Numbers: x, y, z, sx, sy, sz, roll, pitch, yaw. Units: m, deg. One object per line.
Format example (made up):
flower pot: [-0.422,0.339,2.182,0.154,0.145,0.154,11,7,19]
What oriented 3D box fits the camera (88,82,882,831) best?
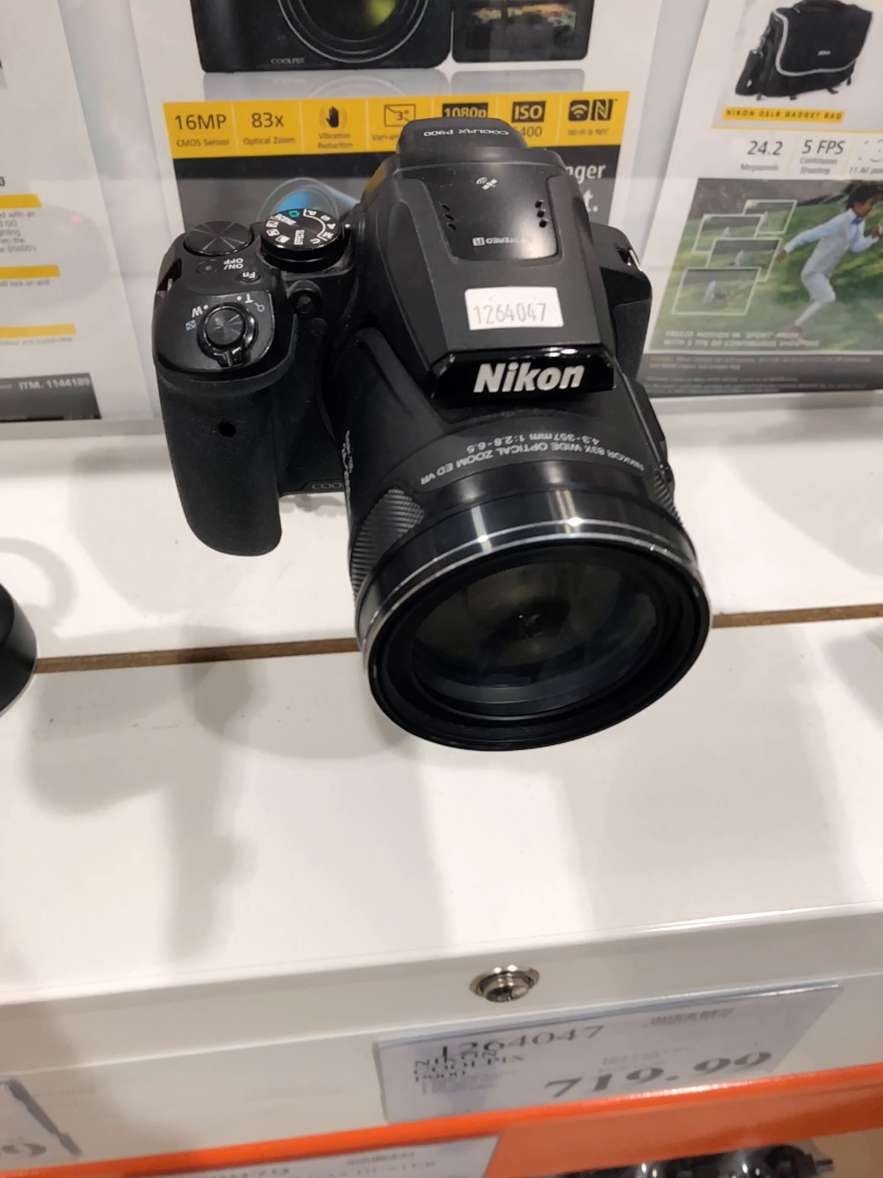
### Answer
camera: [0.001,-0.044,0.247,0.140,0.100,0.160,-5,47,-8]
